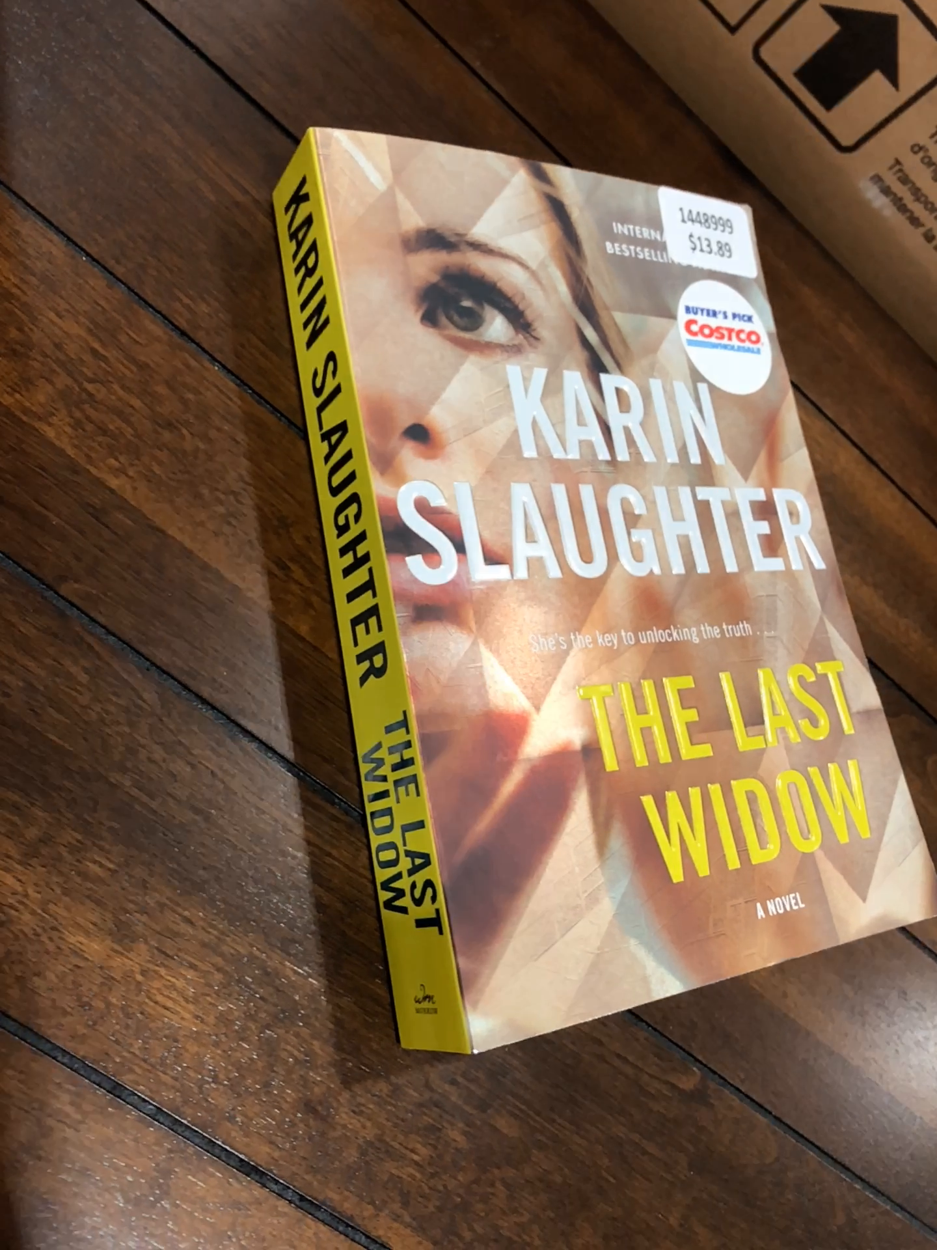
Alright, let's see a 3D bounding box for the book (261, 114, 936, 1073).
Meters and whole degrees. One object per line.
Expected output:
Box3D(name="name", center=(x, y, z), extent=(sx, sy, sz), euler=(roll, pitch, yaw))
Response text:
Box3D(name="book", center=(0.037, -0.017, 0.295), extent=(0.154, 0.042, 0.230), euler=(-3, 76, -29))
